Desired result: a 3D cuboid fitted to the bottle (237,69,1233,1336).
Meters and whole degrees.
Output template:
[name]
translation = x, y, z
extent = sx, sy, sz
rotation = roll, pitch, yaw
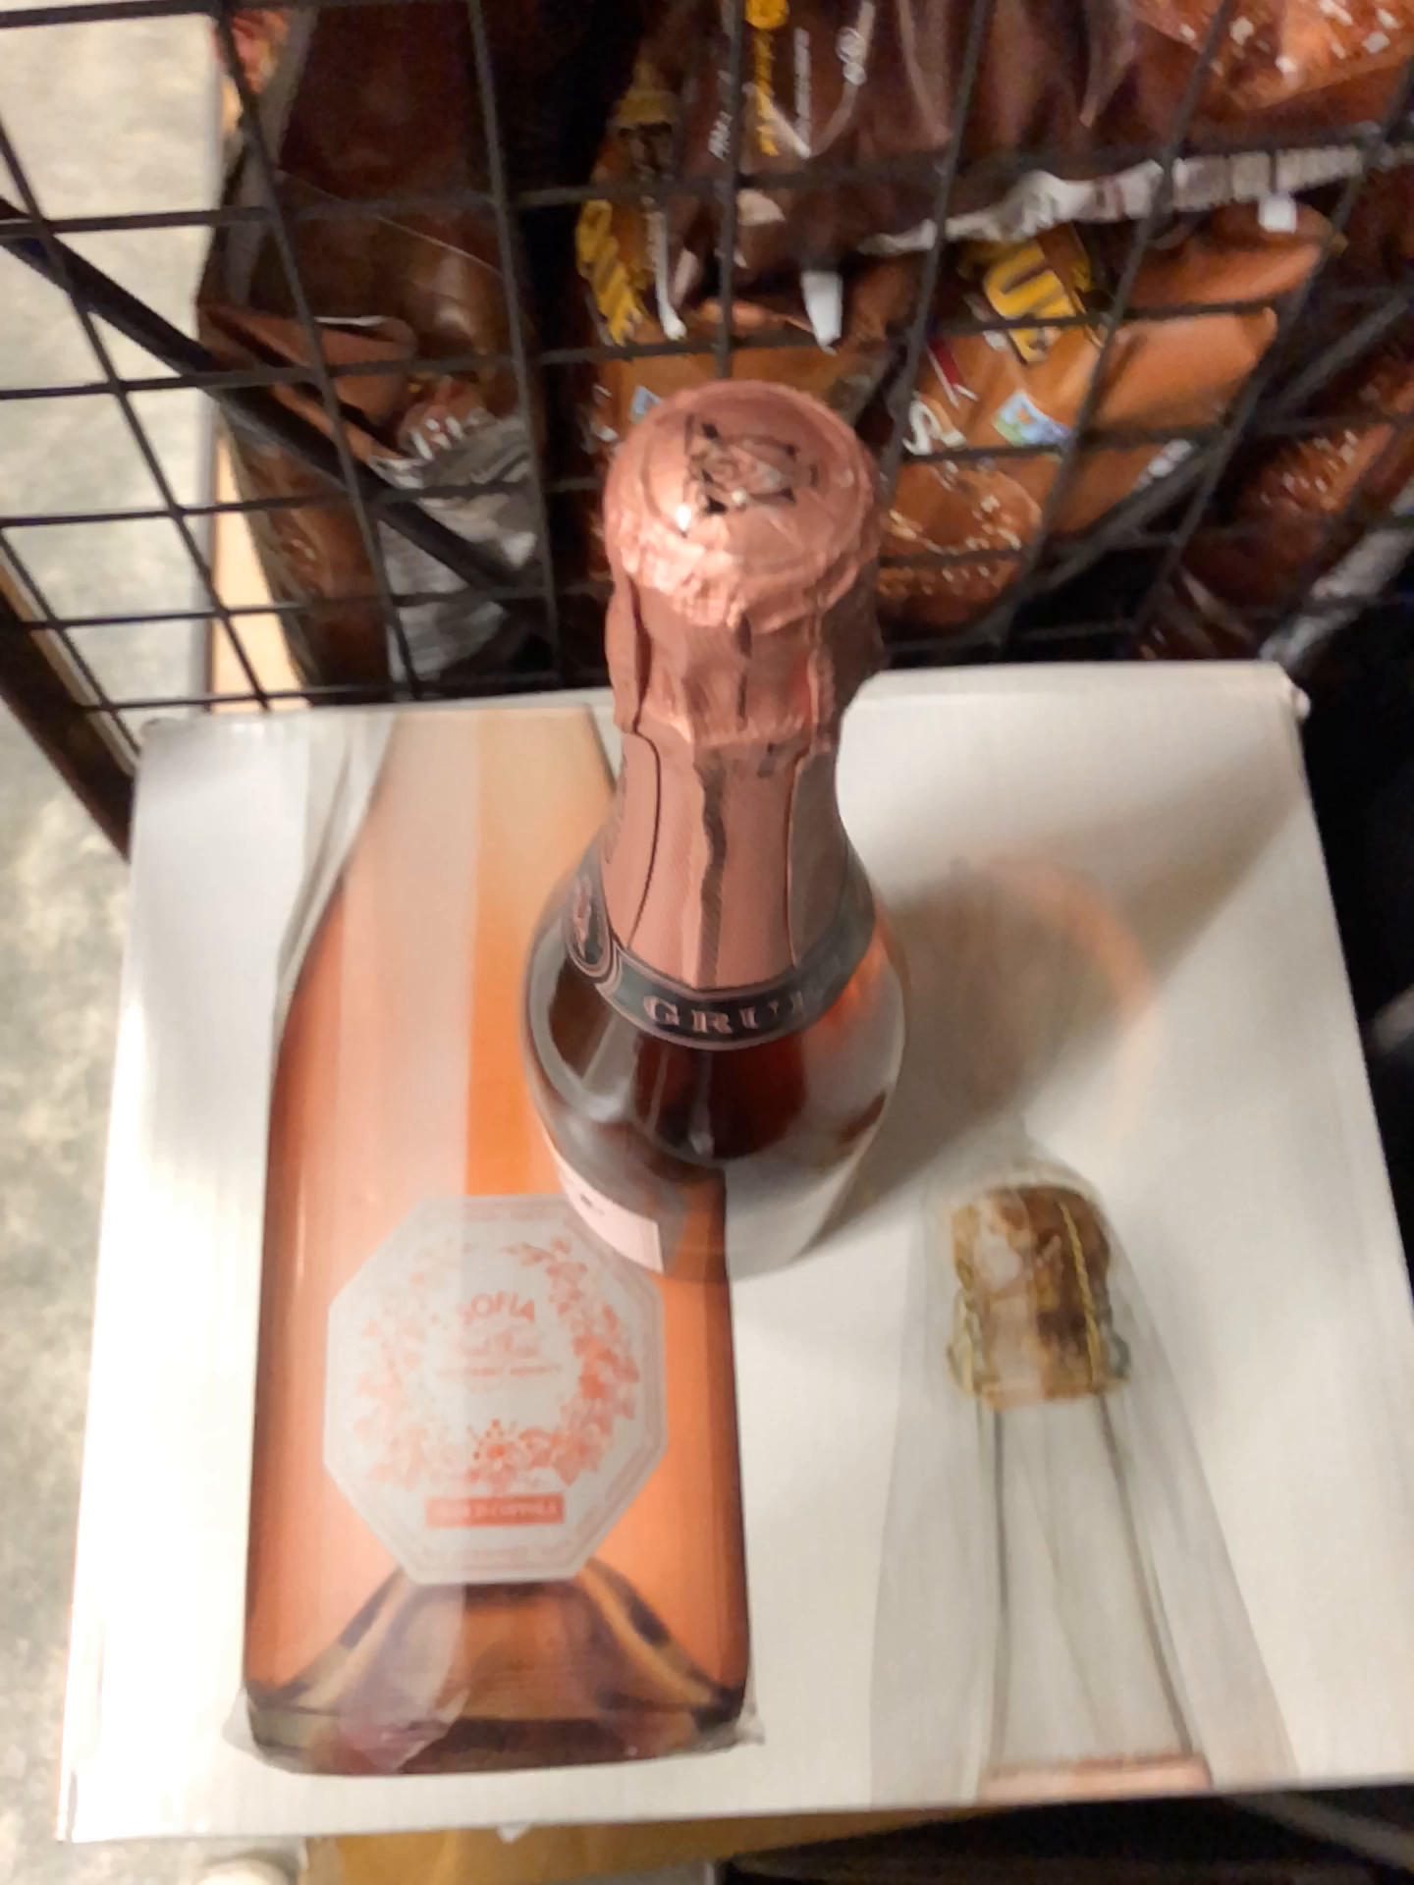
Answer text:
[bottle]
translation = -0.004, 0.002, 0.314
extent = 0.090, 0.312, 0.090
rotation = 0, 68, -1
